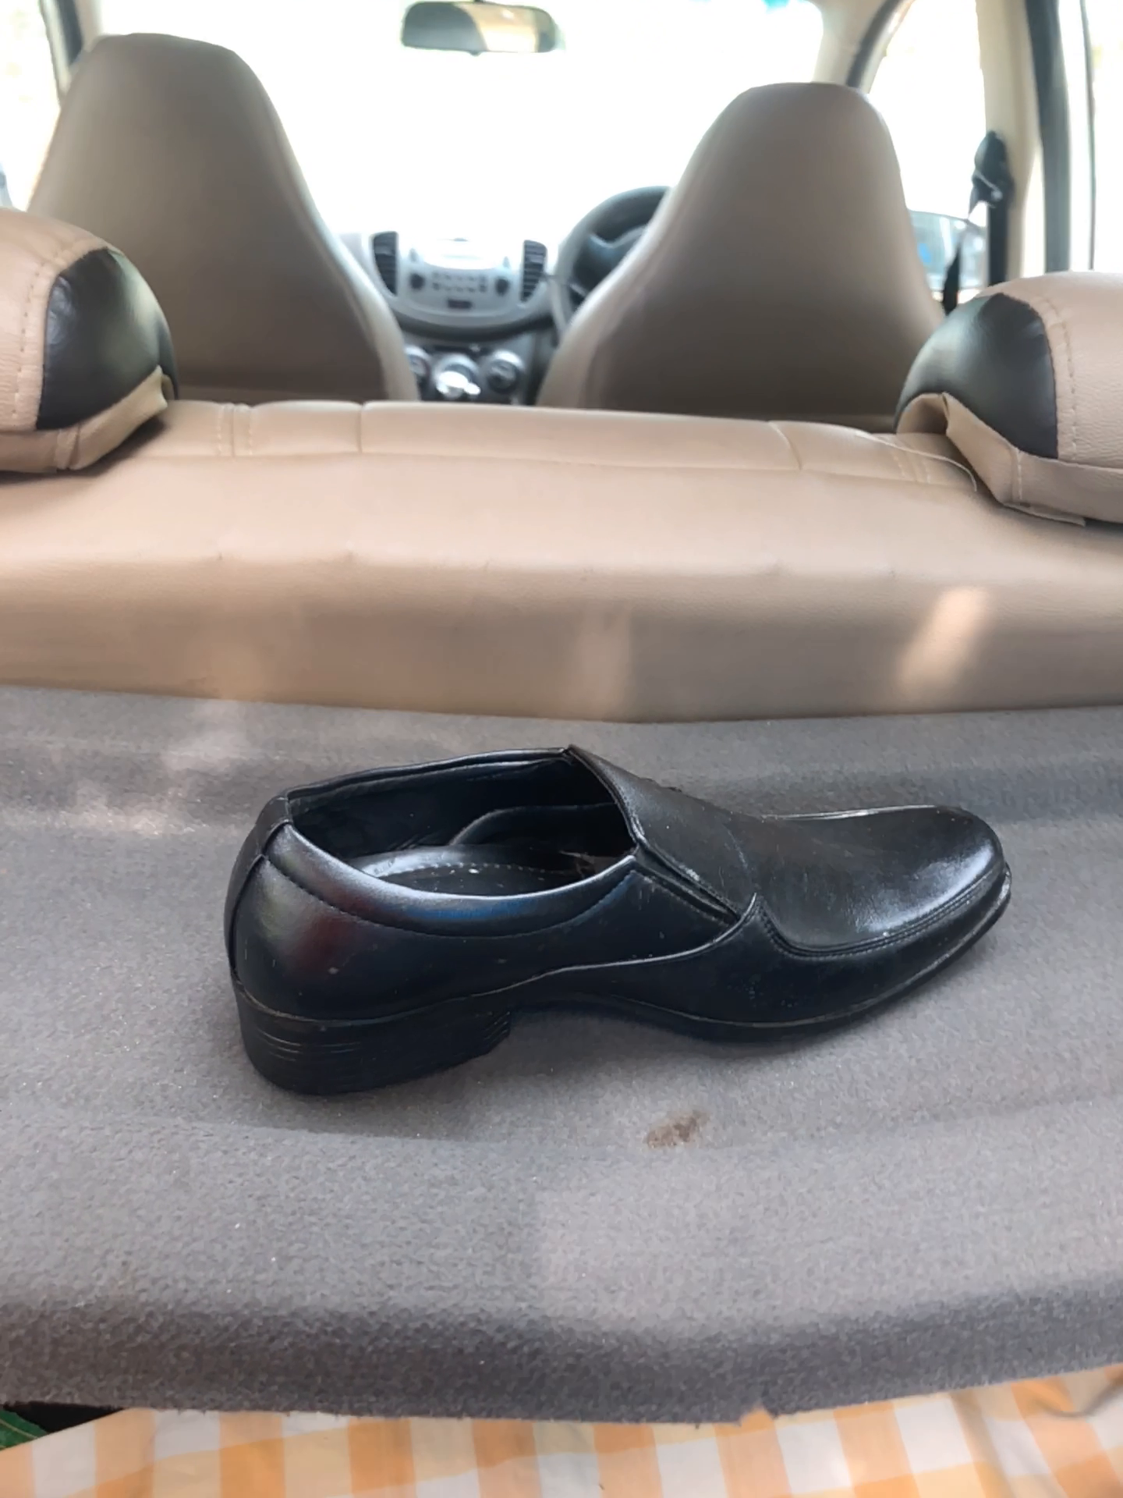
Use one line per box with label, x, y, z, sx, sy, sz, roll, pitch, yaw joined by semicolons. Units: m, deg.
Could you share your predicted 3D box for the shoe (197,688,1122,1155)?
shoe;0.034;0.047;0.436;0.301;0.080;0.100;-6;29;-19
